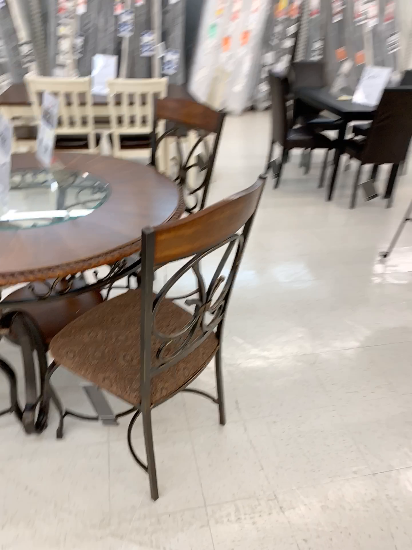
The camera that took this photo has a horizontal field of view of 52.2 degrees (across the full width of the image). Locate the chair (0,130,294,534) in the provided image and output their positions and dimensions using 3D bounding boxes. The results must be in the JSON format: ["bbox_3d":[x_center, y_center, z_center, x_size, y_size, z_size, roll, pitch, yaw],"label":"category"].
[{"bbox_3d":[-0.180,0.143,1.315,0.581,0.975,0.522,25,38,32],"label":"chair"}]
